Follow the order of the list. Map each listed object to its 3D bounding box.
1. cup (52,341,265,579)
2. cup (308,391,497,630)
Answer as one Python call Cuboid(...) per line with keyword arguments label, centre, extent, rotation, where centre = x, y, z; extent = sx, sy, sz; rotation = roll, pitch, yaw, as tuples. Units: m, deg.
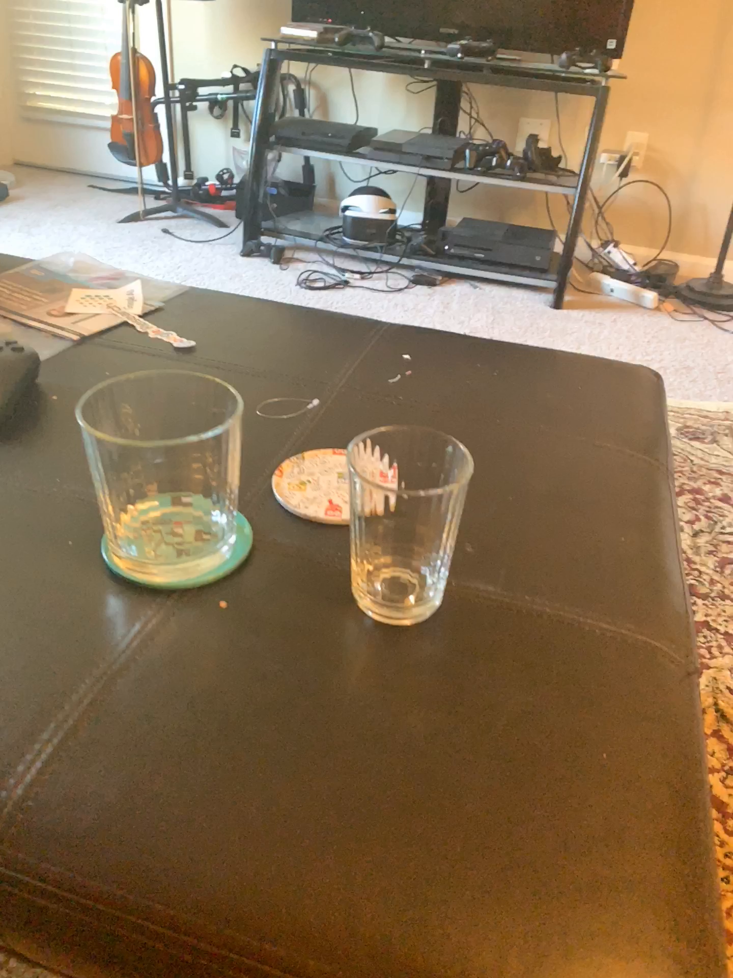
Cuboid(label="cup", centre=(-0.115, -0.020, 0.426), extent=(0.080, 0.089, 0.080), rotation=(3, 32, -2))
Cuboid(label="cup", centre=(0.017, 0.009, 0.395), extent=(0.060, 0.089, 0.070), rotation=(30, 40, 34))
